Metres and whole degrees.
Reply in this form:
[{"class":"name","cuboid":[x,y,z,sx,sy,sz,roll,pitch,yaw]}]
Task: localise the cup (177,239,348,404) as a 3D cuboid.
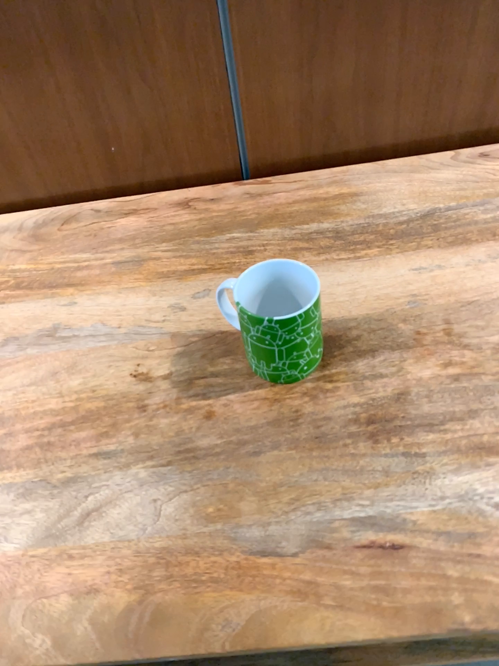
[{"class":"cup","cuboid":[0.016,-0.016,0.514,0.131,0.080,0.100,27,57,30]}]
